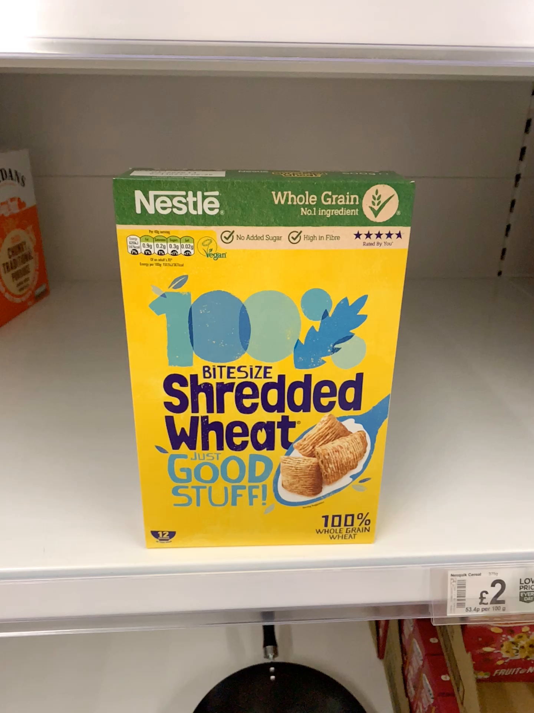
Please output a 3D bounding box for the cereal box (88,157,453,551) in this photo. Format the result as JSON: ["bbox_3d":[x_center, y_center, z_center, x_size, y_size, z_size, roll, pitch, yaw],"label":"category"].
[{"bbox_3d":[0.000,0.005,0.404,0.210,0.278,0.071,0,23,-3],"label":"cereal box"}]
